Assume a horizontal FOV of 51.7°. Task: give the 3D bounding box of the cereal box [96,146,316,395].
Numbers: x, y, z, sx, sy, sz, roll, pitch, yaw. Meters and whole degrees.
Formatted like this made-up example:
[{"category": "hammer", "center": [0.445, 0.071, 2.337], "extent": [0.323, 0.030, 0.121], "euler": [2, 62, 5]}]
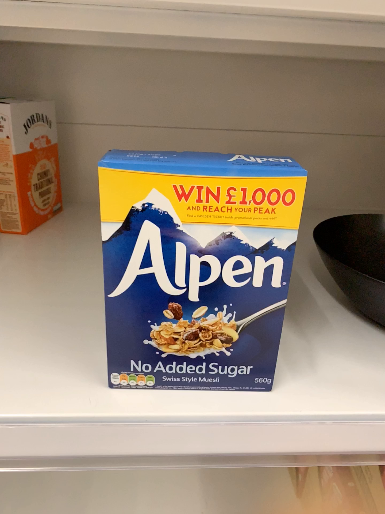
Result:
[{"category": "cereal box", "center": [0.006, 0.020, 0.397], "extent": [0.180, 0.238, 0.060], "euler": [2, 22, -2]}]
